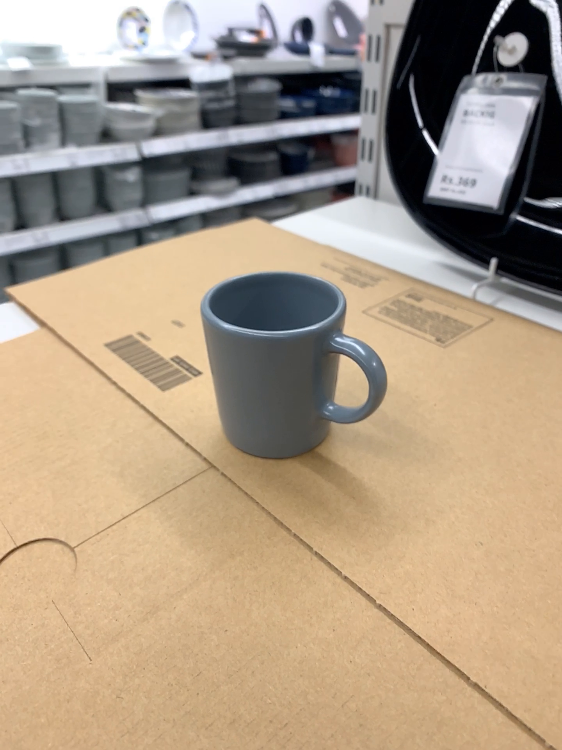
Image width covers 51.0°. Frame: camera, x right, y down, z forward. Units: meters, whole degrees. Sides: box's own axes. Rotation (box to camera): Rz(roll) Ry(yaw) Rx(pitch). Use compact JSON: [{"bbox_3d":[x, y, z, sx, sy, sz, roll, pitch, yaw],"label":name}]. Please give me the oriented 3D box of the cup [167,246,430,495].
[{"bbox_3d":[0.006,-0.007,0.239,0.080,0.060,0.060,21,36,28],"label":"cup"}]
